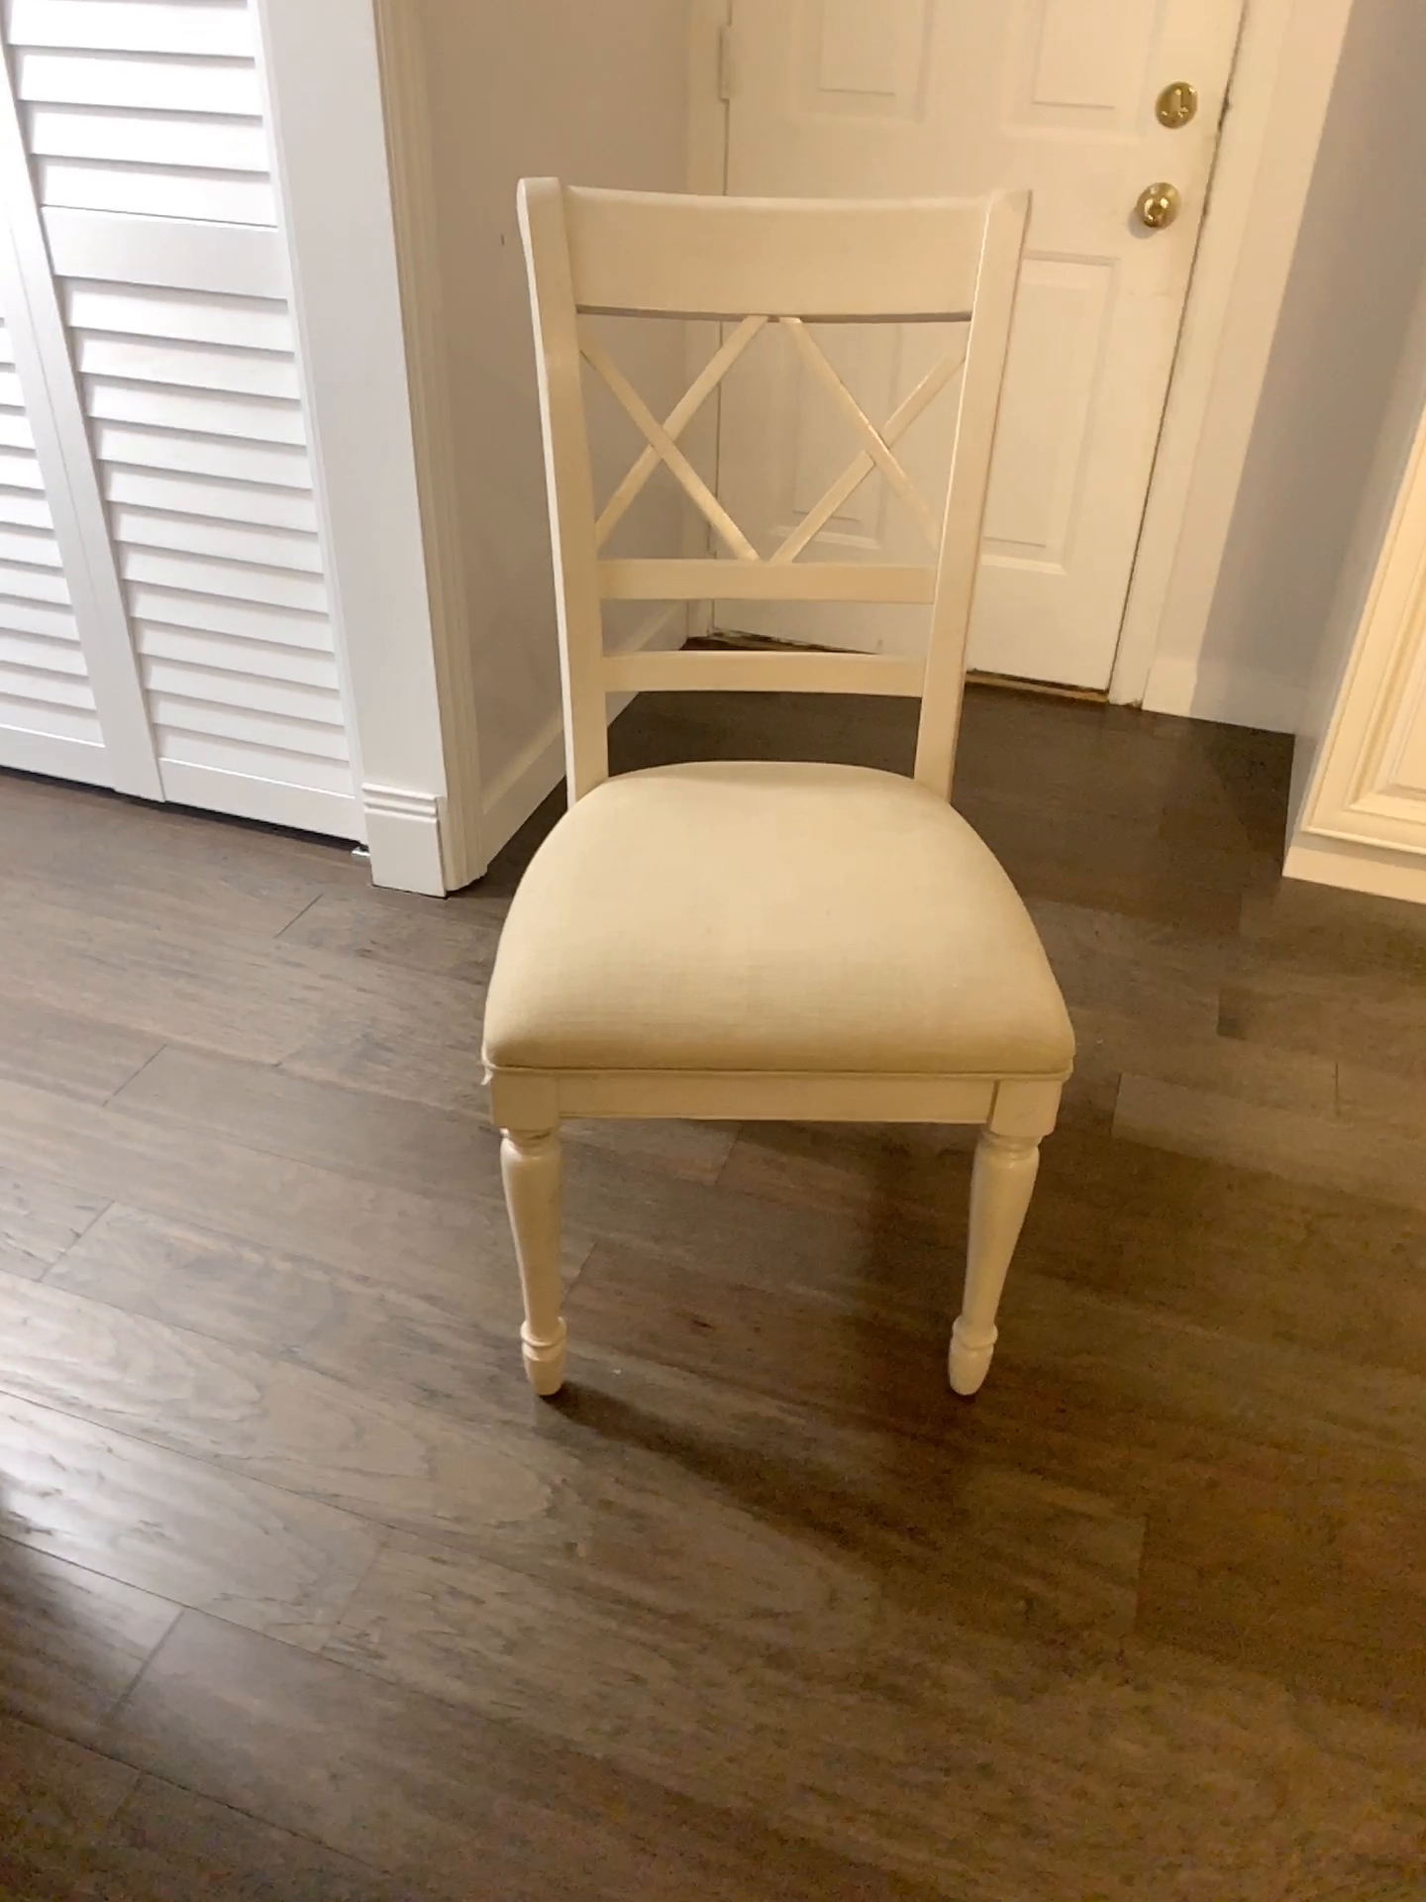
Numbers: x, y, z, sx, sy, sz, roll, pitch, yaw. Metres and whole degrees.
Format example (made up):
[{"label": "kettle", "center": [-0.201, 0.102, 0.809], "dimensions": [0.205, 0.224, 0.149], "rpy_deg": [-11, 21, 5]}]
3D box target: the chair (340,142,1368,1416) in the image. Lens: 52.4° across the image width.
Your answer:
[{"label": "chair", "center": [0.064, -0.143, 1.349], "dimensions": [0.580, 0.994, 0.614], "rpy_deg": [0, 35, -2]}]
